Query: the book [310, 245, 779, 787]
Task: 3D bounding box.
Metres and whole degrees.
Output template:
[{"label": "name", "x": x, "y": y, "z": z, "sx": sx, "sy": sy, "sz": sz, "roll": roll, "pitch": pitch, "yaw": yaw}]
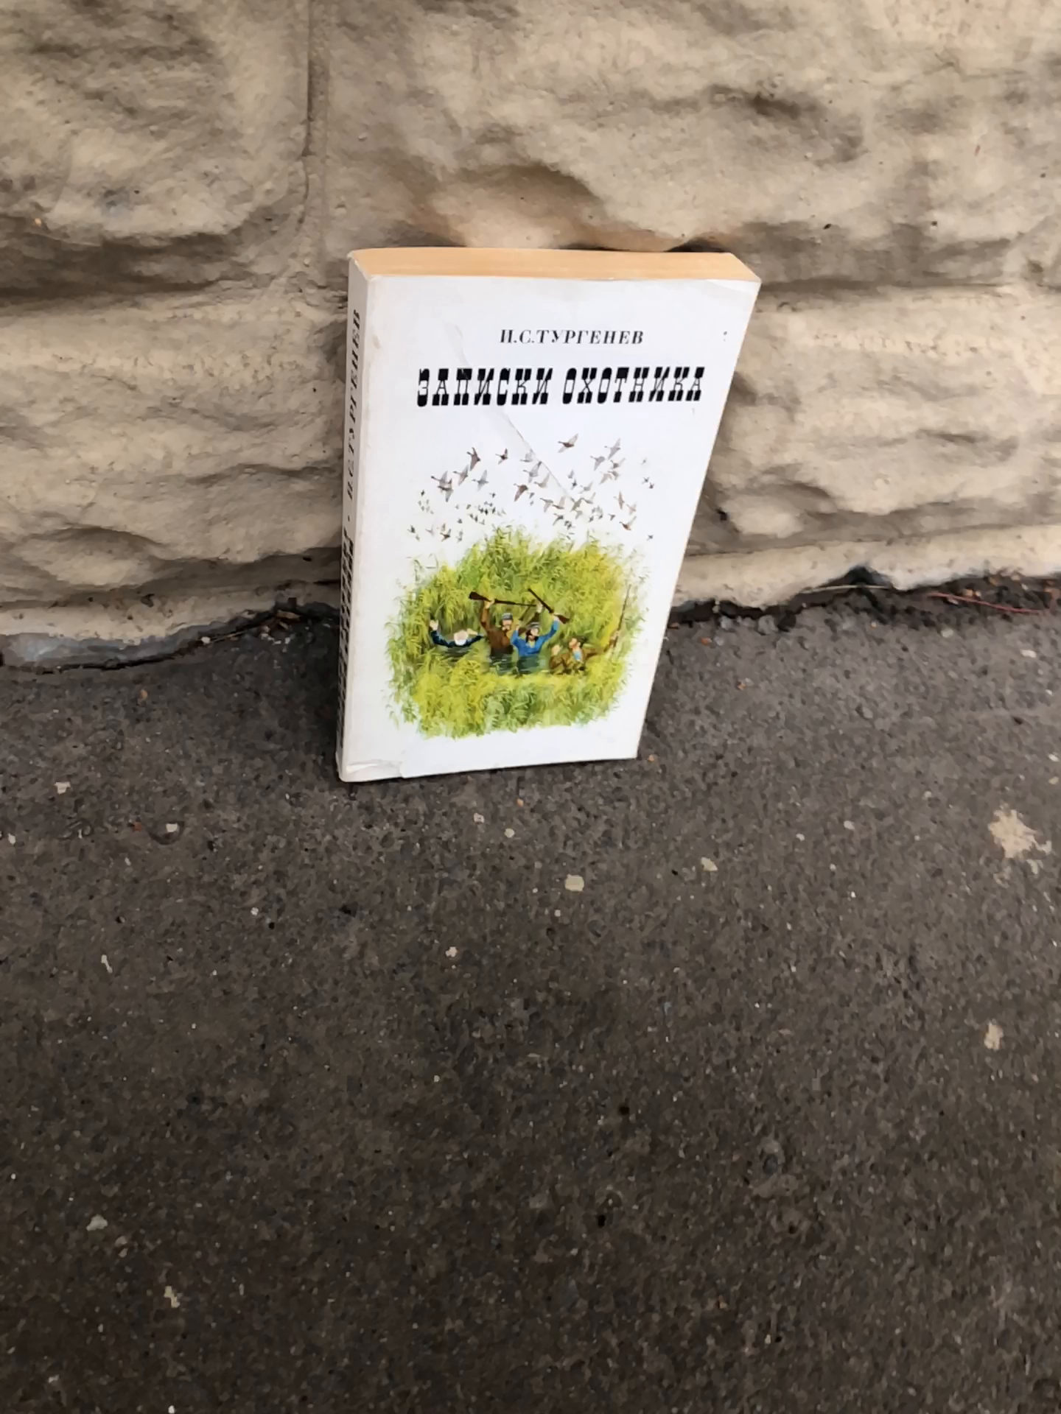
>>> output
[{"label": "book", "x": -0.003, "y": -0.059, "z": 0.404, "sx": 0.137, "sy": 0.183, "sz": 0.032, "roll": -5, "pitch": 39, "yaw": -16}]
